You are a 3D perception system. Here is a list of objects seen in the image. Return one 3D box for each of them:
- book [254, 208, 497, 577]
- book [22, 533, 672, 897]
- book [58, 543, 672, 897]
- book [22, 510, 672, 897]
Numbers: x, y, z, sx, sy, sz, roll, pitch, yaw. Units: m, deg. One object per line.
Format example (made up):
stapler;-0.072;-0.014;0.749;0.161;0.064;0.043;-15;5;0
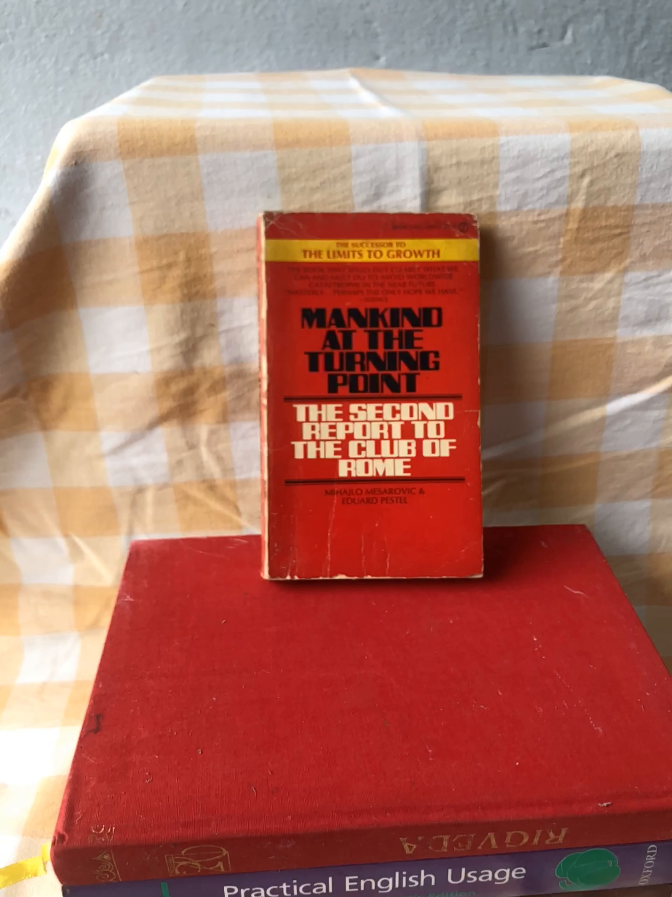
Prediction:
book;0.018;-0.027;0.368;0.110;0.170;0.040;-1;7;-3
book;0.010;0.128;0.385;0.270;0.040;0.191;-4;32;-1
book;0.014;0.131;0.372;0.240;0.040;0.191;-4;32;-1
book;0.014;0.114;0.388;0.280;0.040;0.191;-4;32;-1
